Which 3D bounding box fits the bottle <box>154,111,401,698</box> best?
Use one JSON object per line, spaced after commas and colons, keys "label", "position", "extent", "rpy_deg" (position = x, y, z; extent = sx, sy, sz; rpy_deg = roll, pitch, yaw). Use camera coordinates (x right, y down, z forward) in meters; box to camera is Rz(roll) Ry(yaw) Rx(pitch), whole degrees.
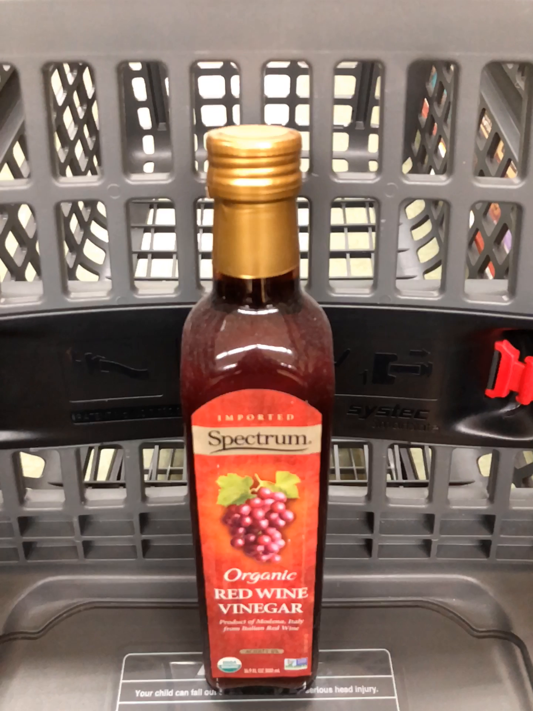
{"label": "bottle", "position": [0.003, 0.041, 0.264], "extent": [0.070, 0.270, 0.070], "rpy_deg": [0, 30, 0]}
